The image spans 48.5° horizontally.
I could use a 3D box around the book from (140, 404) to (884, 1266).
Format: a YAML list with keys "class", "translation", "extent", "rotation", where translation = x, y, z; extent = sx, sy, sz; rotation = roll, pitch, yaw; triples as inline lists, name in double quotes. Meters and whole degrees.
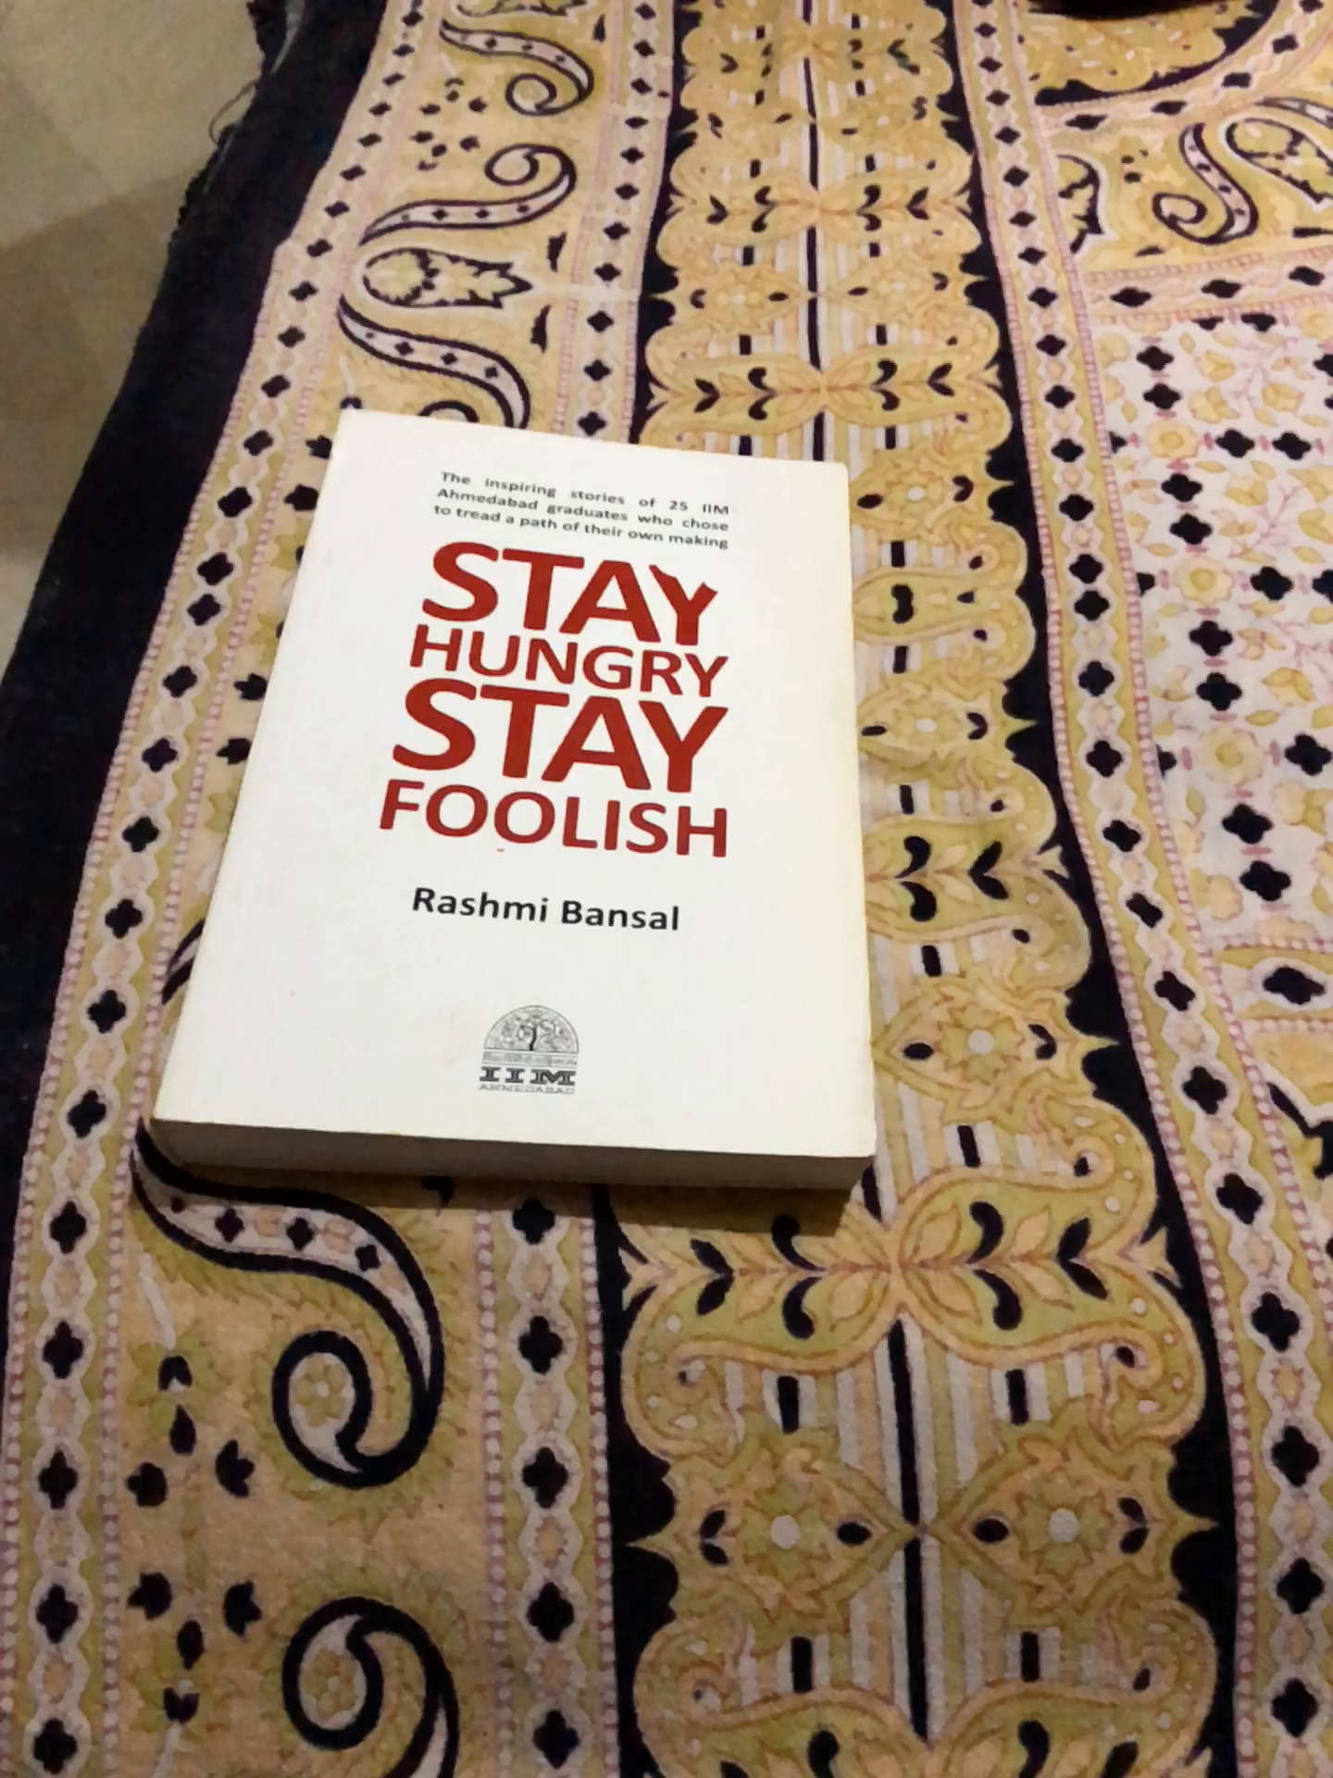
- class: "book"
  translation: [-0.024, -0.025, 0.354]
  extent: [0.140, 0.040, 0.210]
  rotation: [5, 56, -2]
